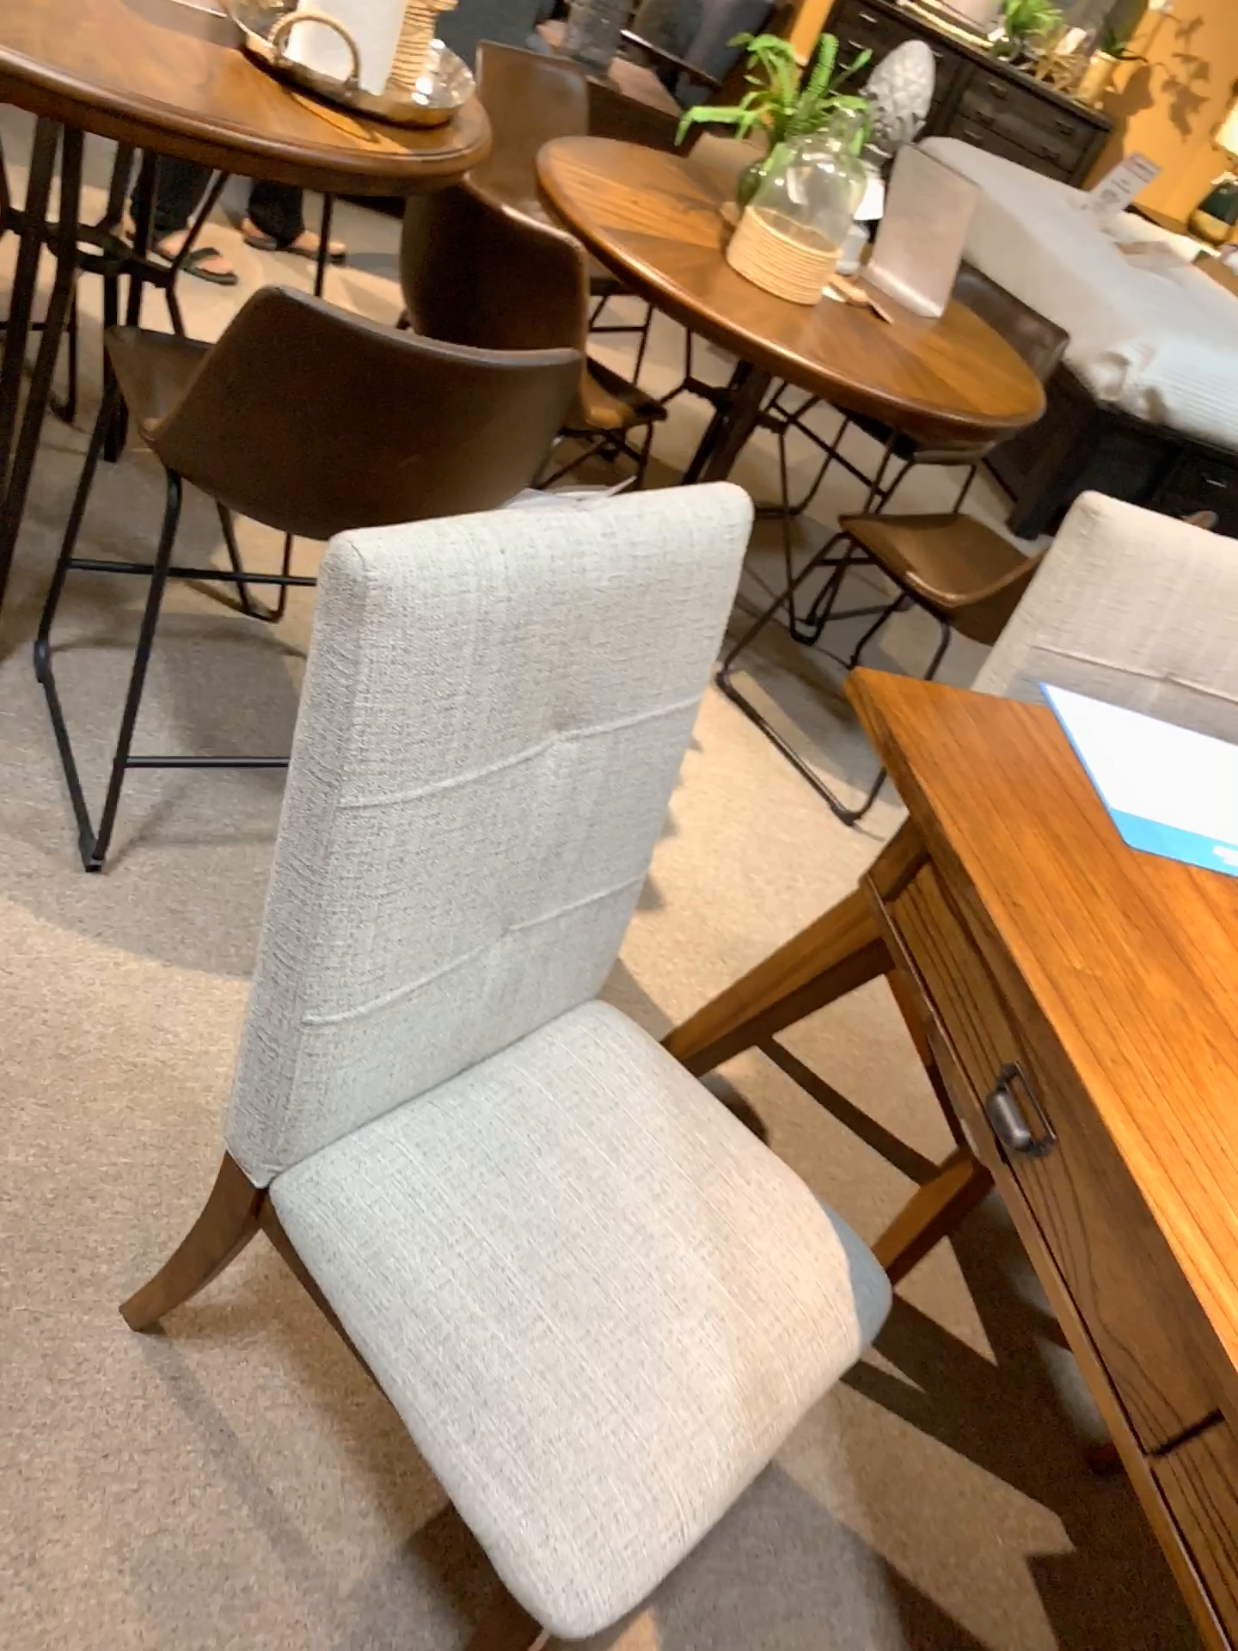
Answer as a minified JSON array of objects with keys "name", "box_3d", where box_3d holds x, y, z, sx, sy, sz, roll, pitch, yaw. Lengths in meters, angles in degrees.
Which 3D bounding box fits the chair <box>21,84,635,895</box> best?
[{"name":"chair","box_3d":[-0.455,-0.401,1.708,0.495,0.793,0.568,-3,48,-34]}]

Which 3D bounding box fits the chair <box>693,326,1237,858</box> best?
[{"name":"chair","box_3d":[0.655,-0.449,2.475,0.526,0.743,0.598,-11,52,-40]}]

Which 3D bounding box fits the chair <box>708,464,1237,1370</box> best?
[{"name":"chair","box_3d":[0.604,0.160,1.585,0.515,0.913,0.599,8,40,-24]}]

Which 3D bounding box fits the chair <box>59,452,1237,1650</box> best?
[{"name":"chair","box_3d":[-0.036,0.272,1.065,0.486,0.912,0.628,-20,58,-45]}]
